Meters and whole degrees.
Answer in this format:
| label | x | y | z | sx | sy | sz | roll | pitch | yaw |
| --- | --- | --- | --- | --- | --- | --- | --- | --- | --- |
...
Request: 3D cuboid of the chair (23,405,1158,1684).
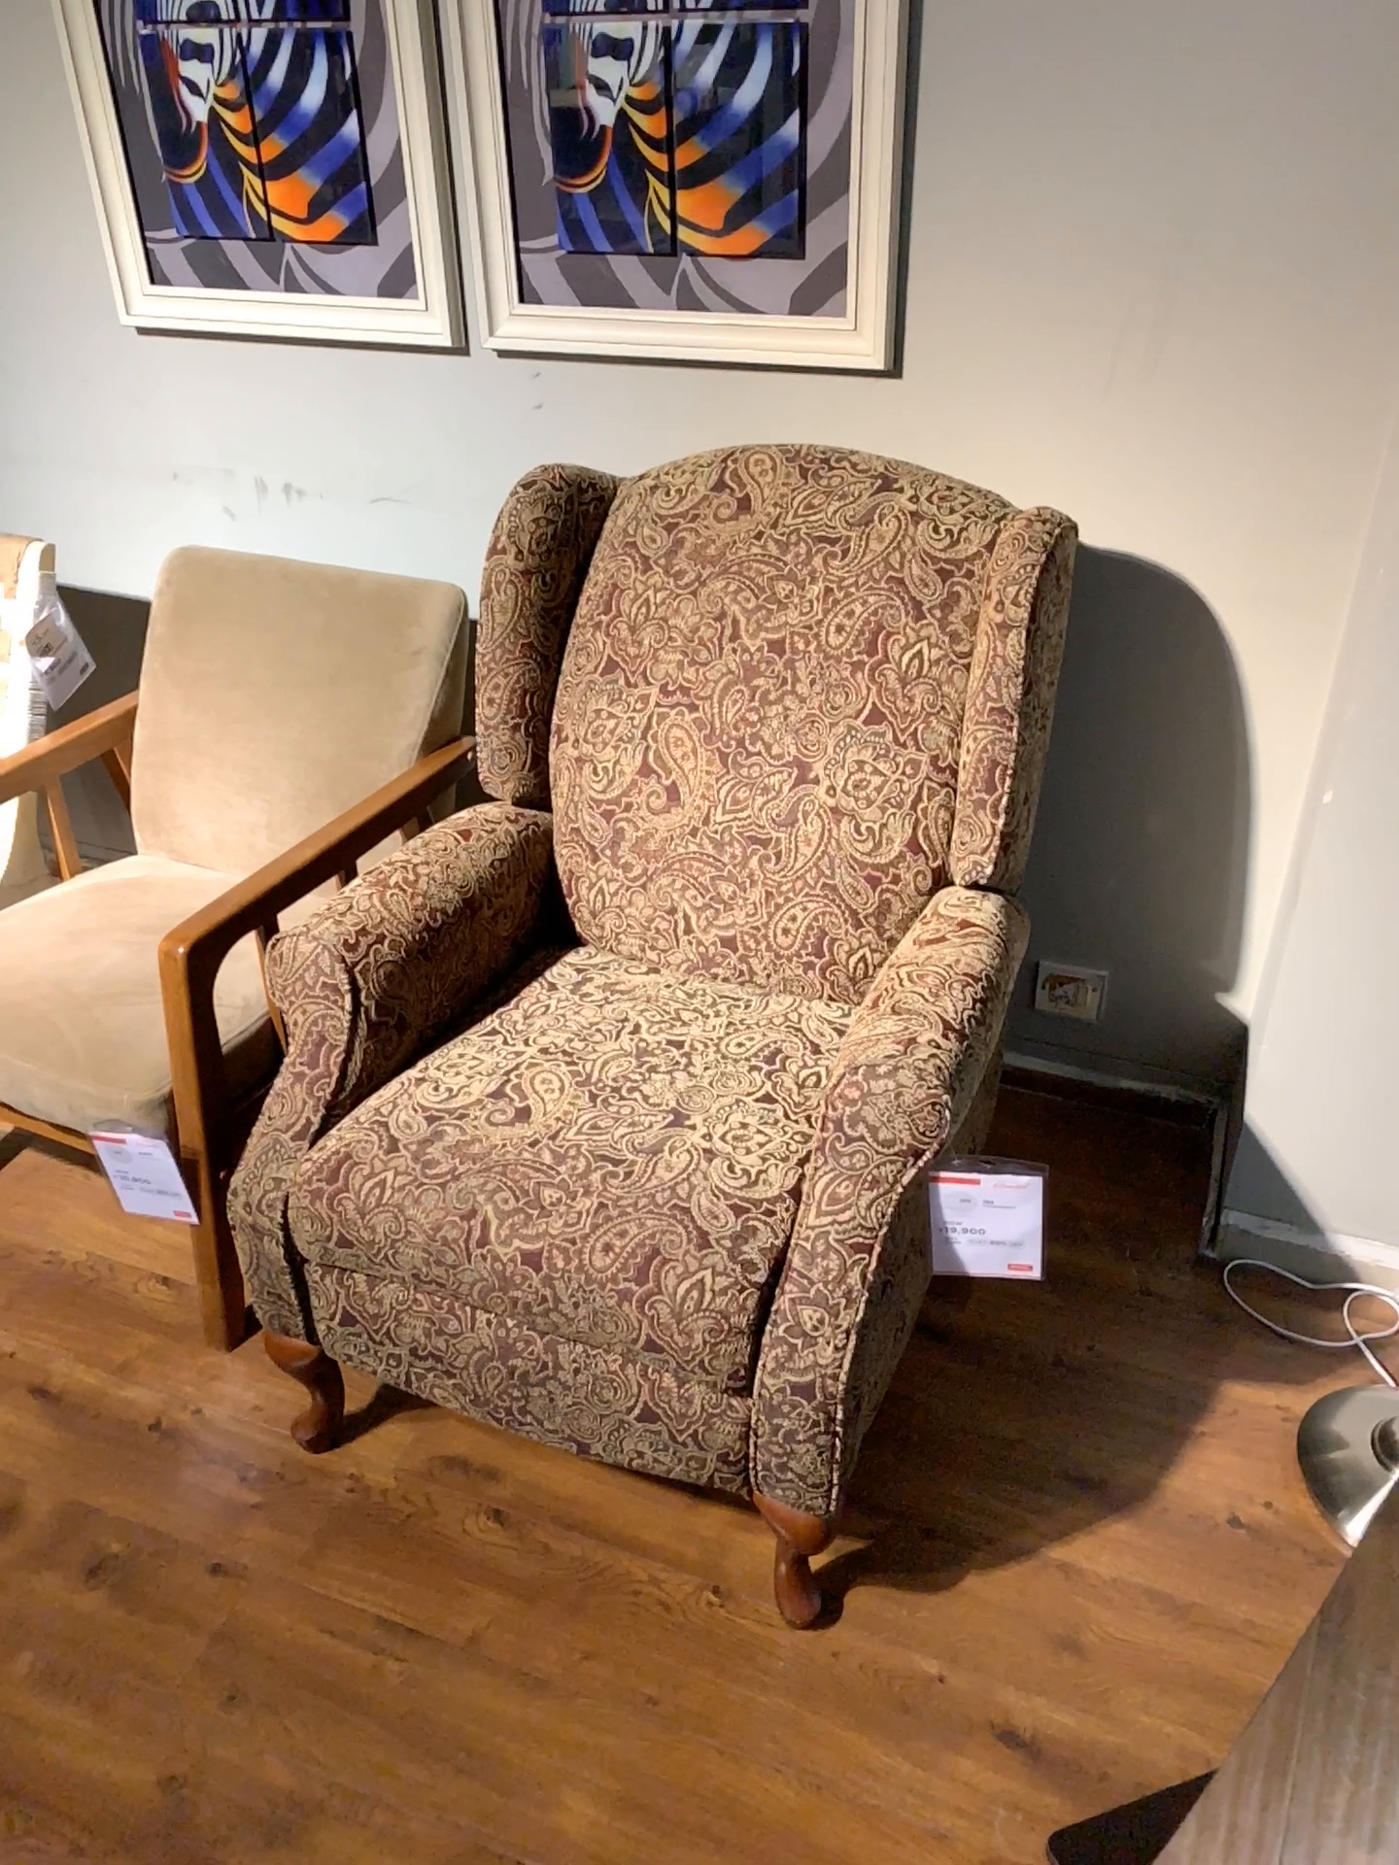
| label | x | y | z | sx | sy | sz | roll | pitch | yaw |
| --- | --- | --- | --- | --- | --- | --- | --- | --- | --- |
| chair | -0.023 | 0.043 | 1.517 | 0.751 | 0.956 | 0.762 | 12 | 34 | 19 |
